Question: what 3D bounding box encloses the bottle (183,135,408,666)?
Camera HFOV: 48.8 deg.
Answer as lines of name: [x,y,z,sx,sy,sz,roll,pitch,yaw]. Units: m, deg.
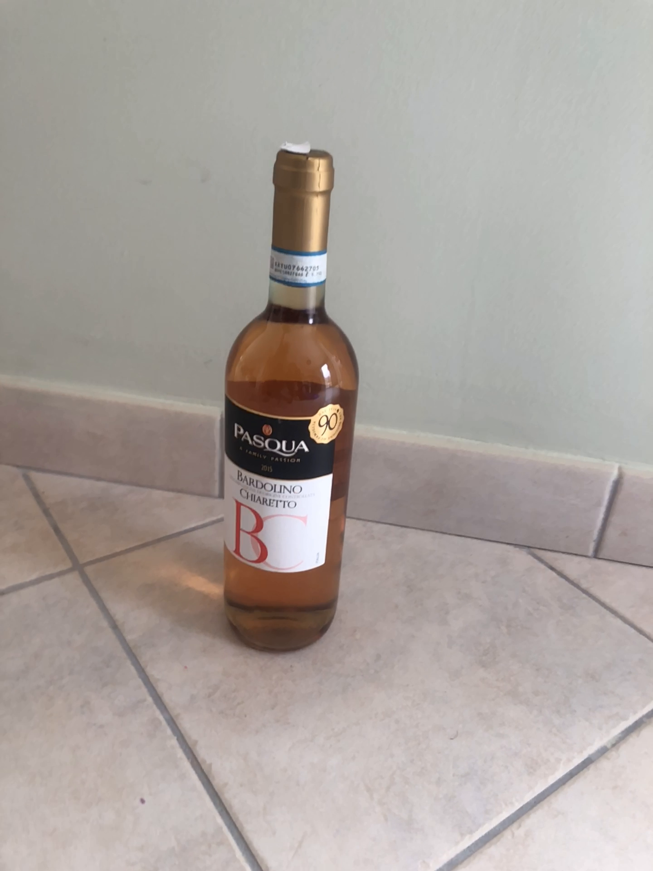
bottle: [-0.019,-0.011,0.392,0.080,0.268,0.081,3,29,-2]
